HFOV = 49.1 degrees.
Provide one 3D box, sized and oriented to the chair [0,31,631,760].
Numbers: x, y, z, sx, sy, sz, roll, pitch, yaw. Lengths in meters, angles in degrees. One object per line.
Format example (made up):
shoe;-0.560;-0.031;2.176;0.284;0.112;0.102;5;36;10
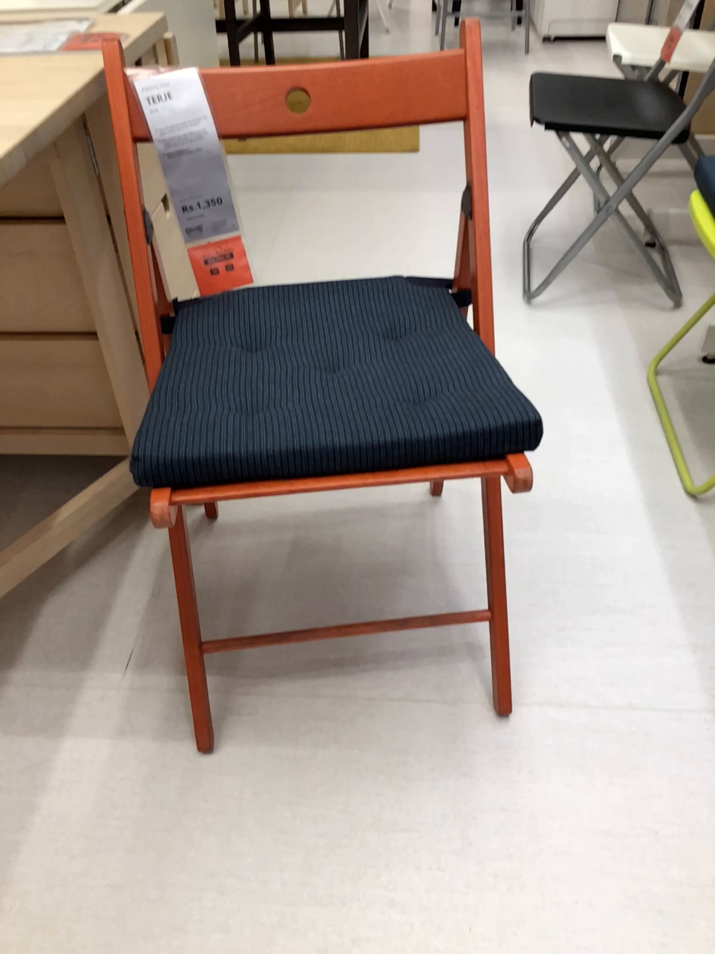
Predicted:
chair;-0.048;-0.088;0.983;0.470;0.715;0.503;-5;41;-3
